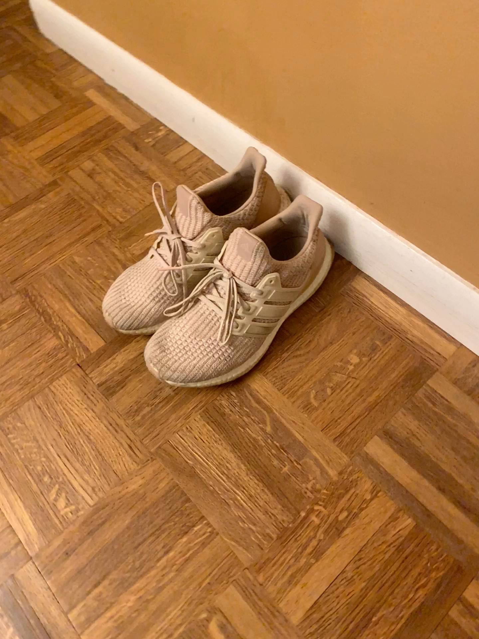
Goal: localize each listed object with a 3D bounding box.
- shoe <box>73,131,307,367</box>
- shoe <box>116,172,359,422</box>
[{"bbox_3d":[-0.051,-0.088,0.637,0.280,0.130,0.100,-43,65,-9],"label":"shoe"},{"bbox_3d":[0.009,-0.022,0.576,0.260,0.120,0.110,-45,65,-6],"label":"shoe"}]
